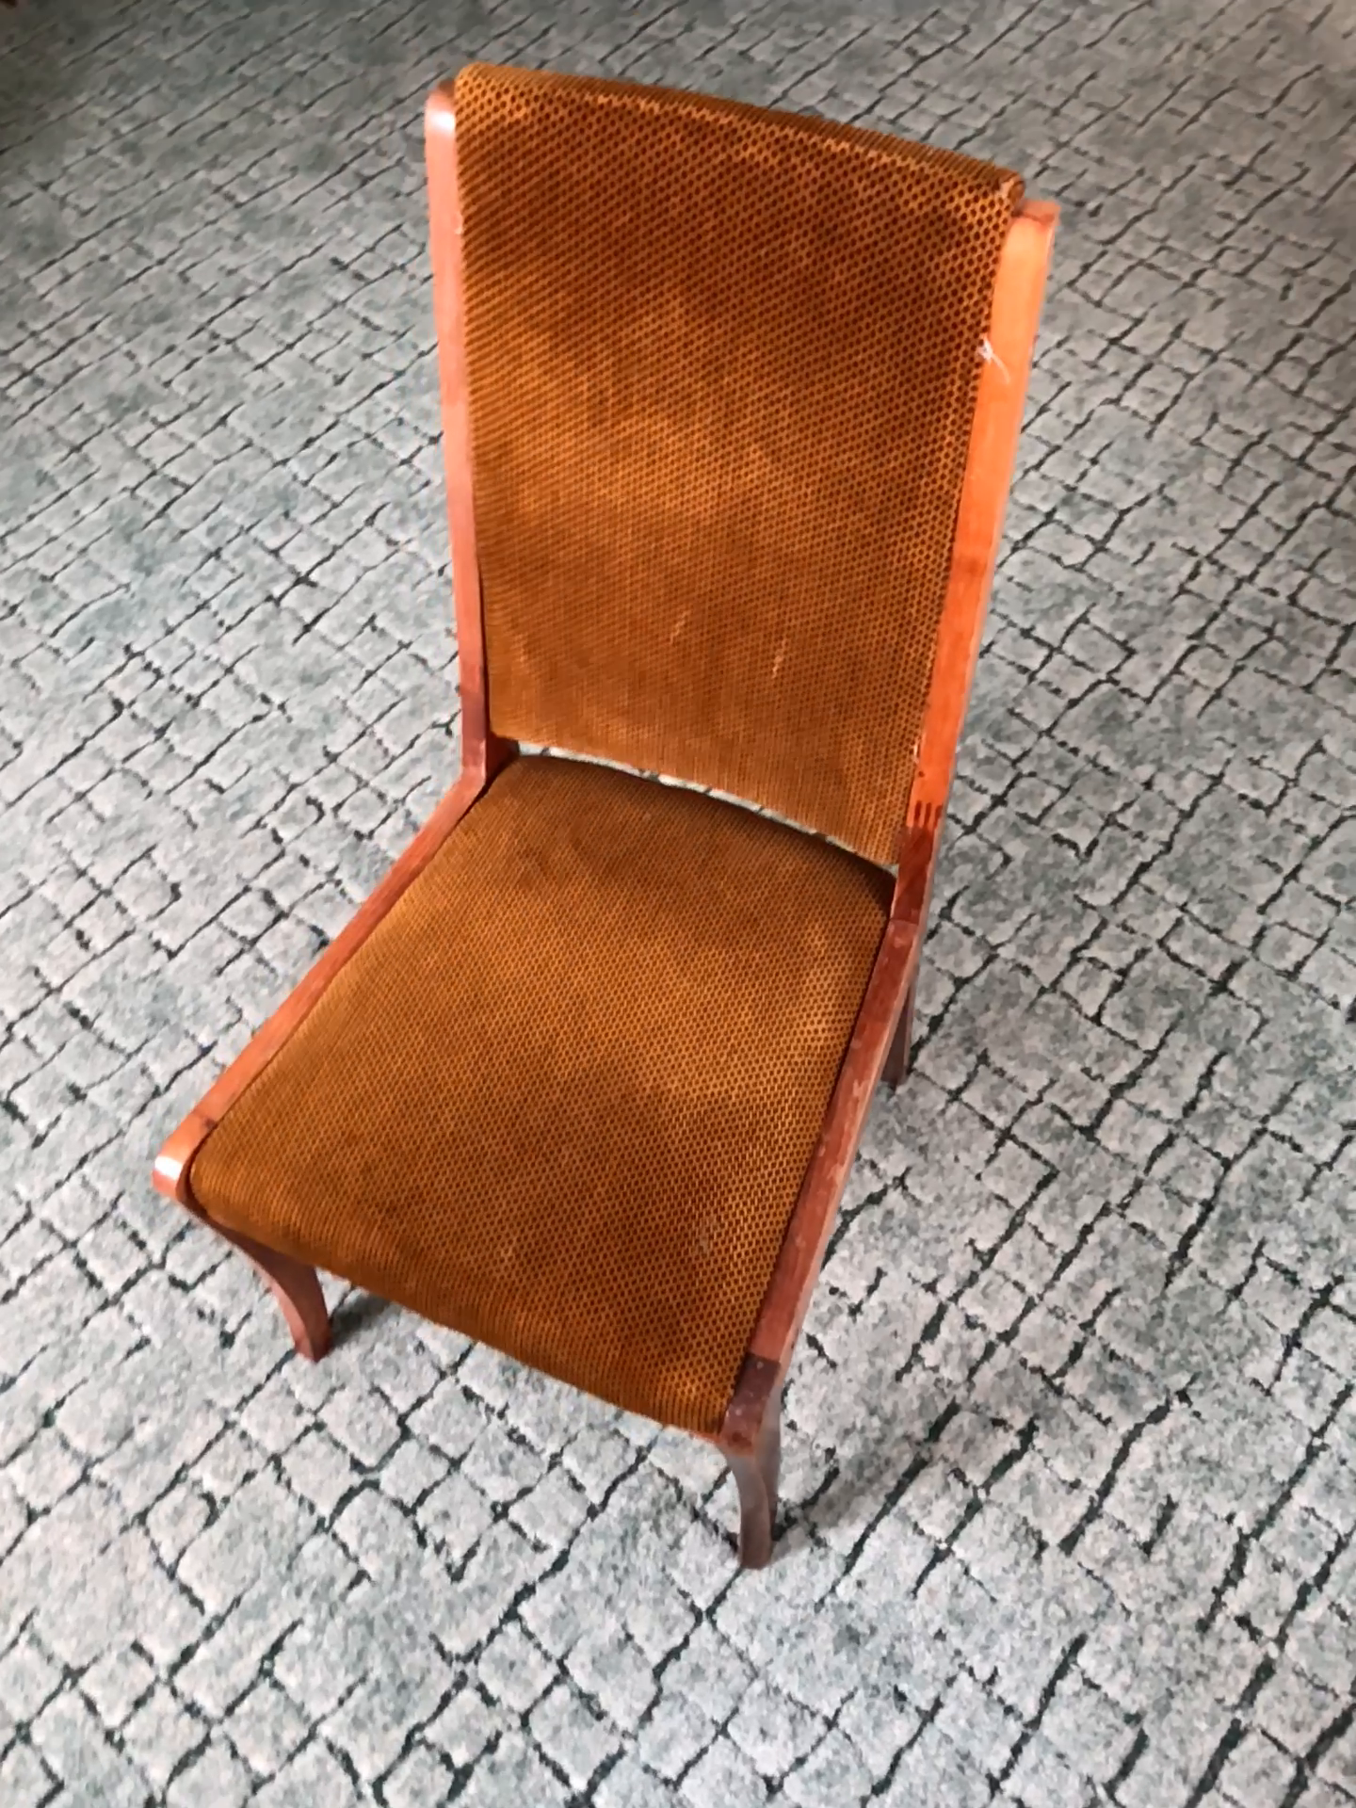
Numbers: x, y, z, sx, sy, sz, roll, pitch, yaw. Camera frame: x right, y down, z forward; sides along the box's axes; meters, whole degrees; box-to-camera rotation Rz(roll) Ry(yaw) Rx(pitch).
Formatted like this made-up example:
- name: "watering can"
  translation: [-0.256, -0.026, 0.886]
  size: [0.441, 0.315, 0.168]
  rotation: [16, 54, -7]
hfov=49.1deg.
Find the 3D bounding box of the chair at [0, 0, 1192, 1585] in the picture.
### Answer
- name: "chair"
  translation: [-0.064, 0.028, 0.997]
  size: [0.470, 0.925, 0.531]
  rotation: [19, 62, 15]
